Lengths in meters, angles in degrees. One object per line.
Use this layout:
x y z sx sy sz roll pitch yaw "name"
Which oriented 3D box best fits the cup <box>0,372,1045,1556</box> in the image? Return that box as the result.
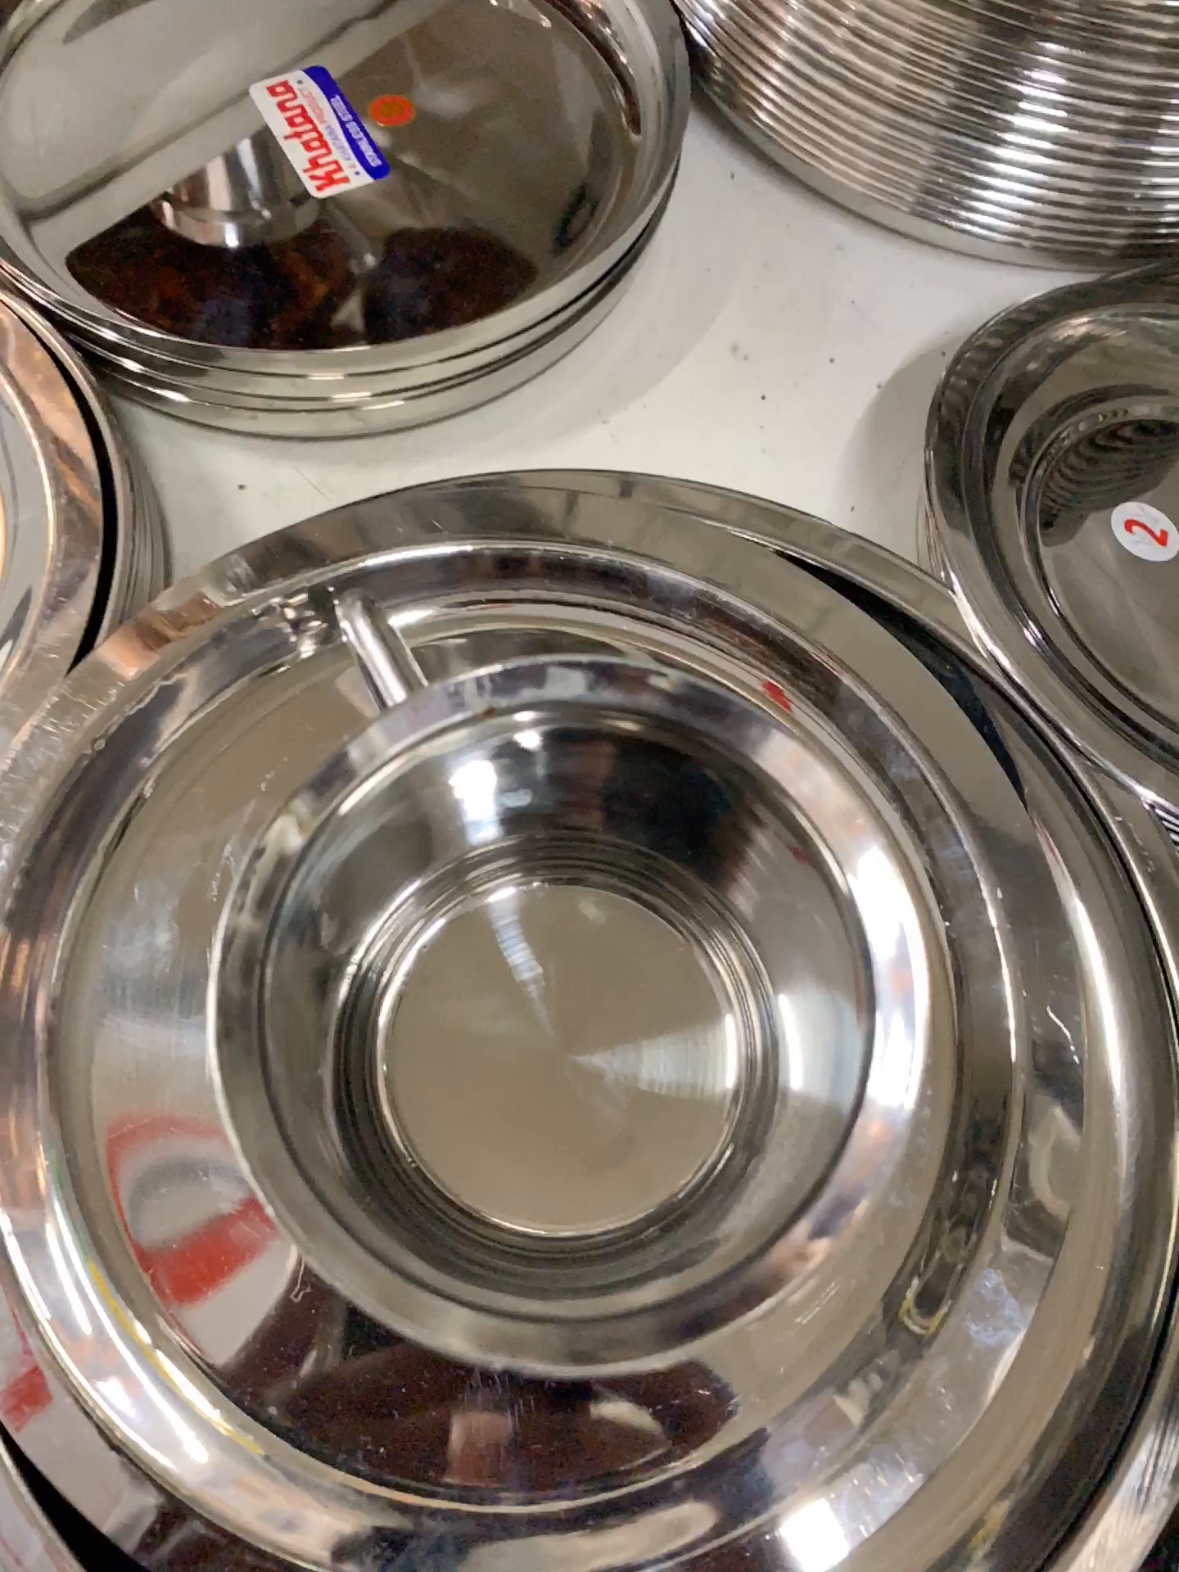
-0.015 0.024 0.180 0.080 0.090 0.110 -27 73 -11 "cup"
